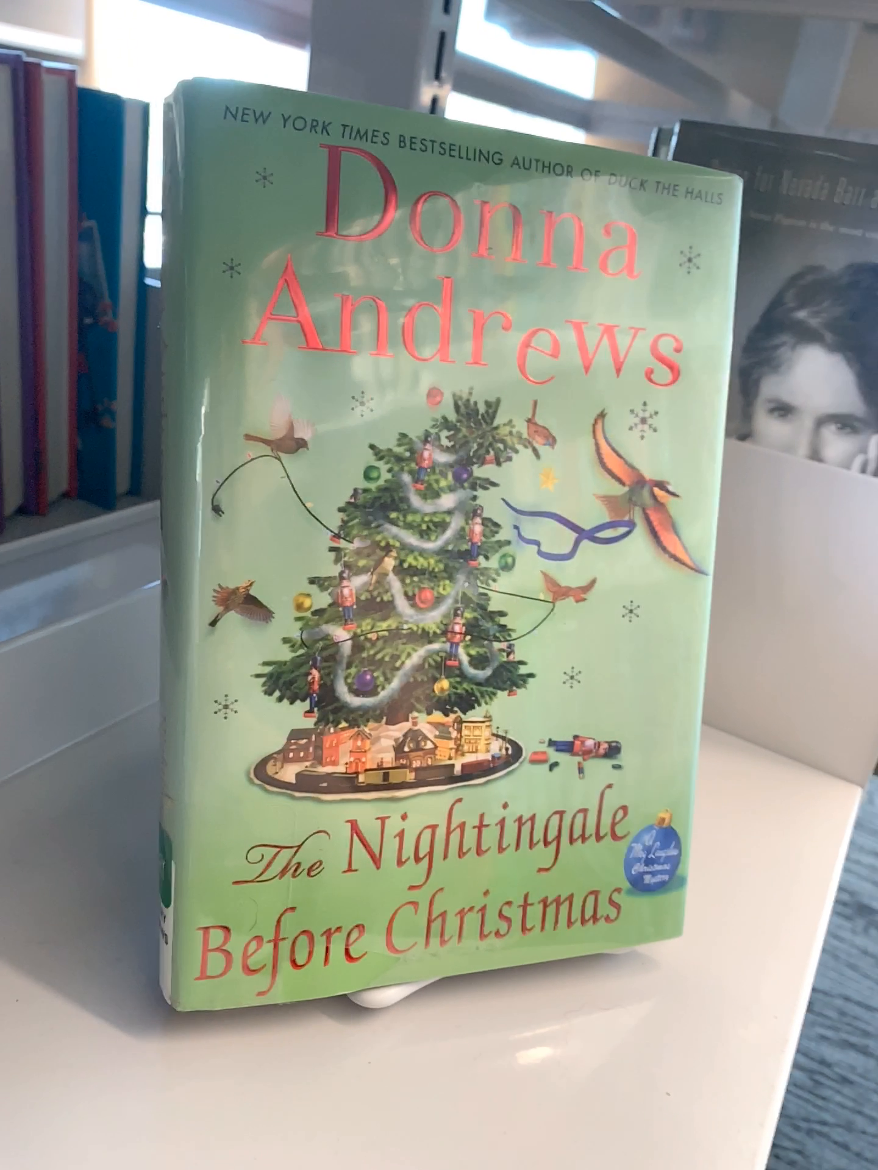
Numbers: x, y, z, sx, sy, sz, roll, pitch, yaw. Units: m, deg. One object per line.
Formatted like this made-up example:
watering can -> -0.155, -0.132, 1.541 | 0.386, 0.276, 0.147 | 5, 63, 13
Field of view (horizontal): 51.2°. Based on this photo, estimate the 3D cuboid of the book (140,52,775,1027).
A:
book -> 0.003, -0.006, 0.231 | 0.145, 0.200, 0.040 | 1, 7, -20
